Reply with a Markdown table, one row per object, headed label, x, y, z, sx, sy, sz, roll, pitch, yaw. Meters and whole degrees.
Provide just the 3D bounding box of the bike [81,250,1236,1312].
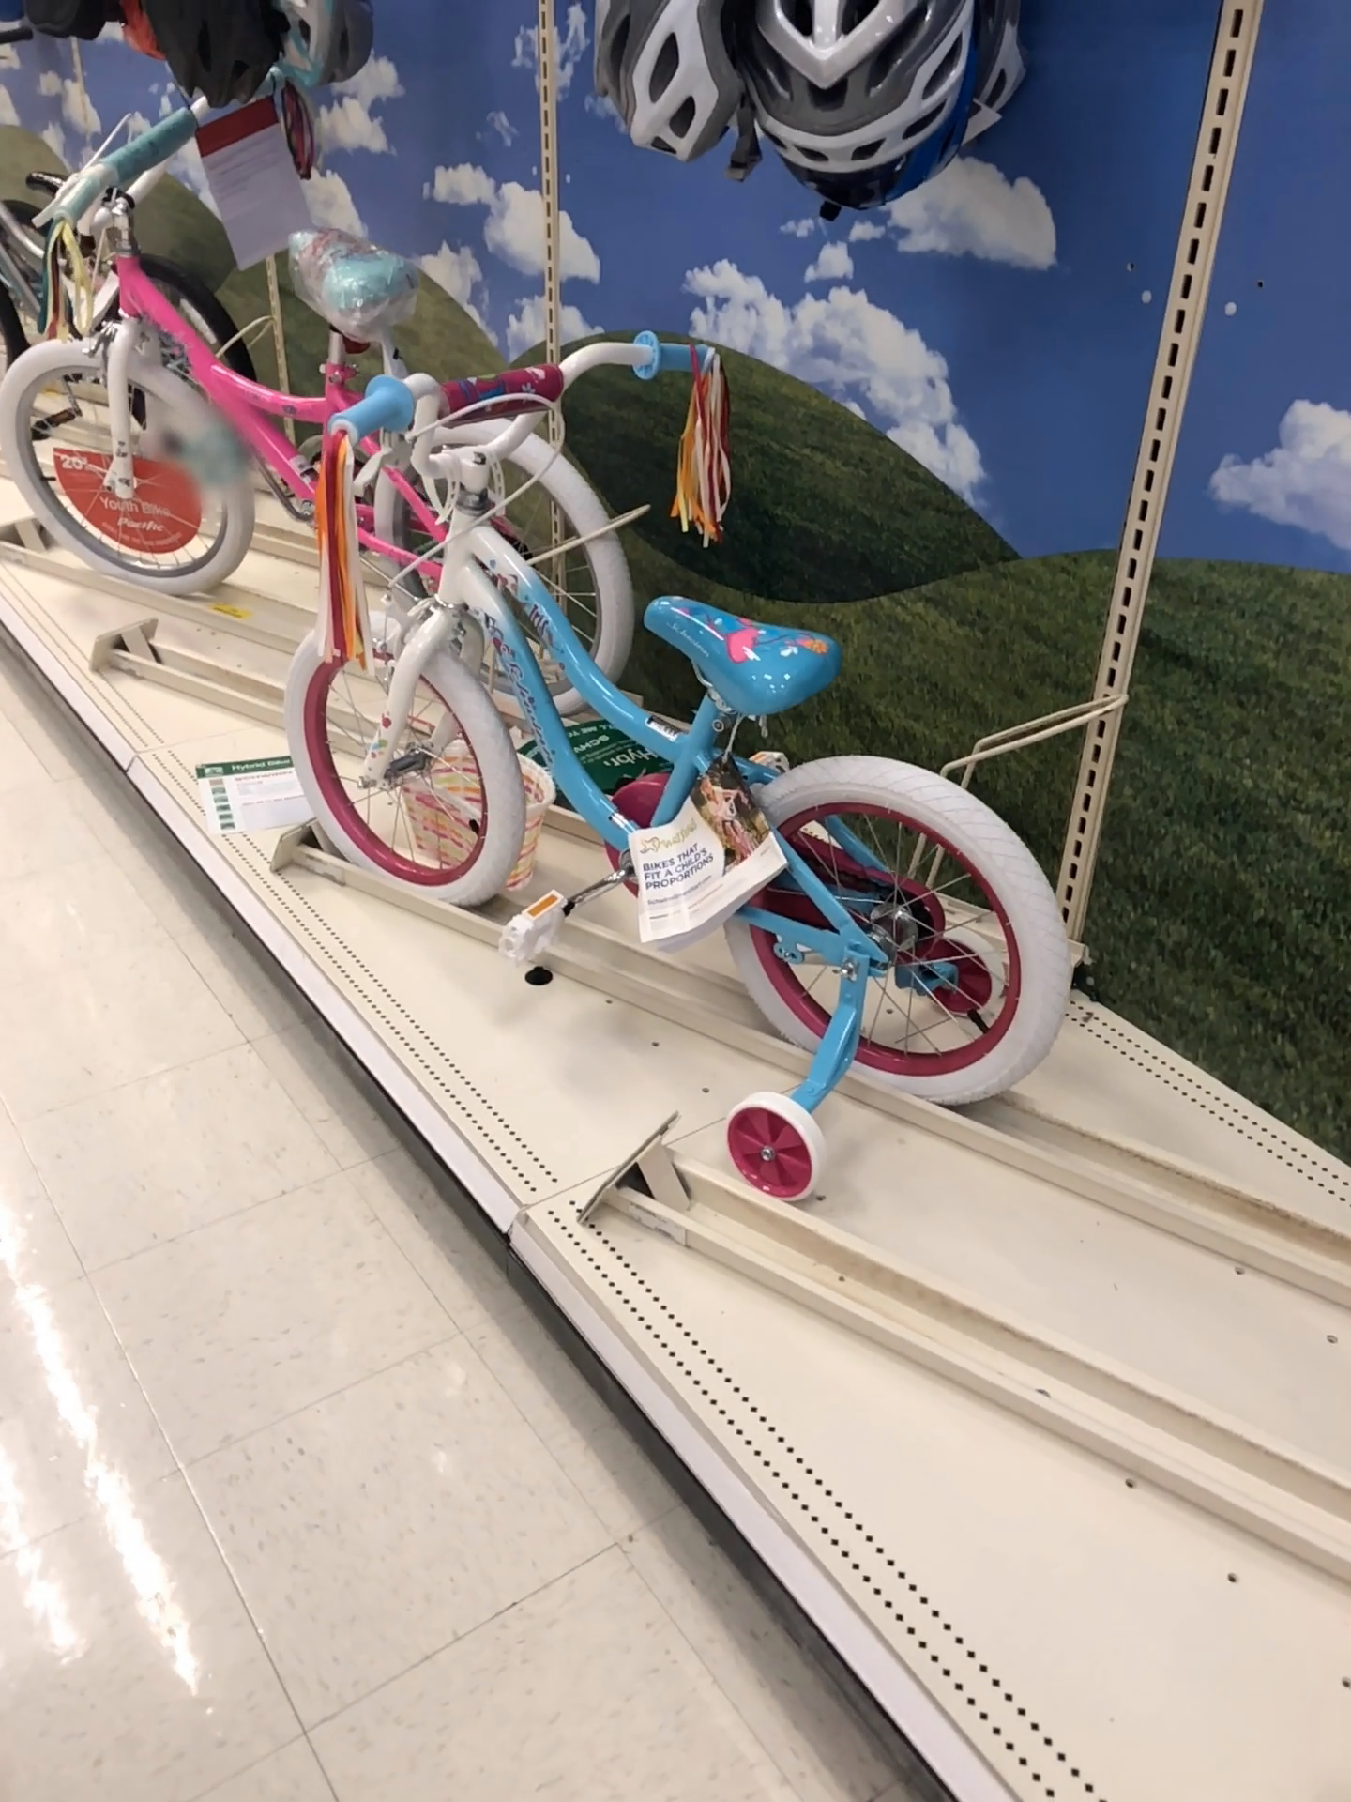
| label | x | y | z | sx | sy | sz | roll | pitch | yaw |
| --- | --- | --- | --- | --- | --- | --- | --- | --- | --- |
| bike | -0.046 | -0.230 | 1.662 | 1.092 | 0.723 | 0.534 | 22 | 37 | 27 |
